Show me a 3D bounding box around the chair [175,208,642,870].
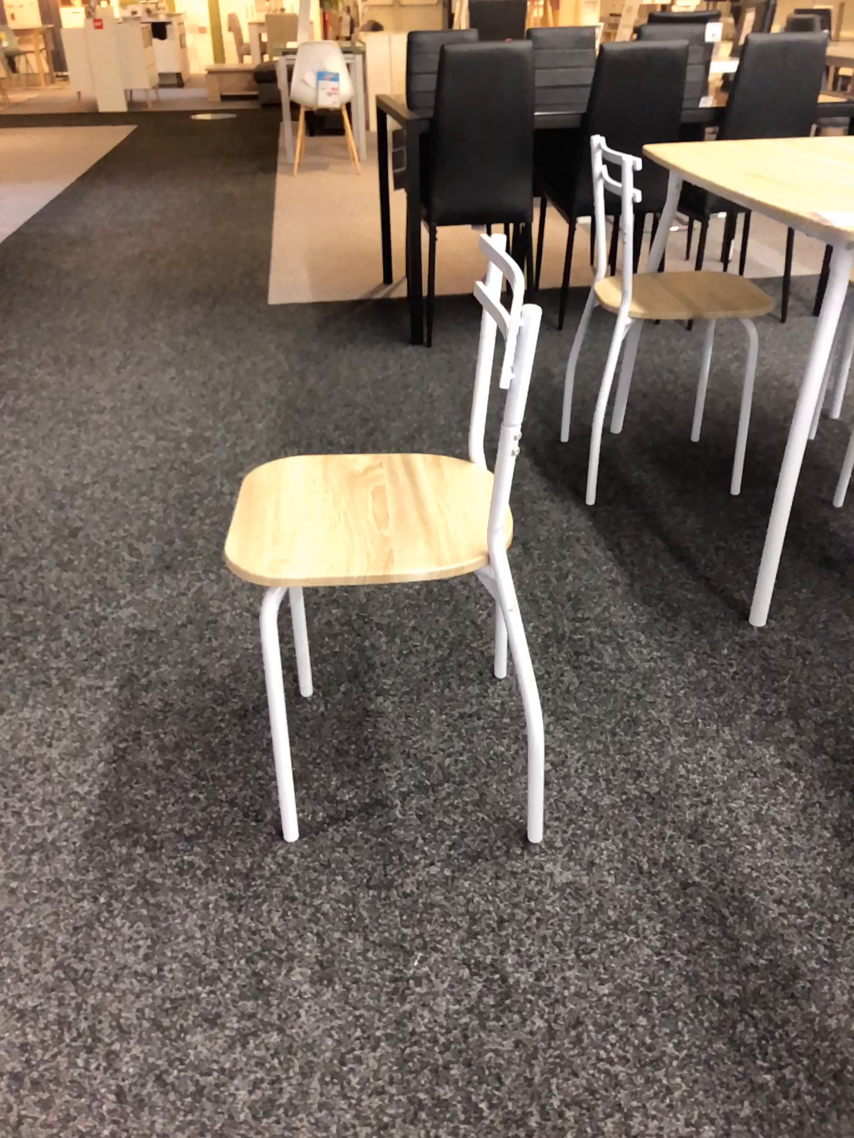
[{"bbox_3d":[-0.040,-0.057,1.280,0.440,0.726,0.503,-4,32,-6],"label":"chair"}]
